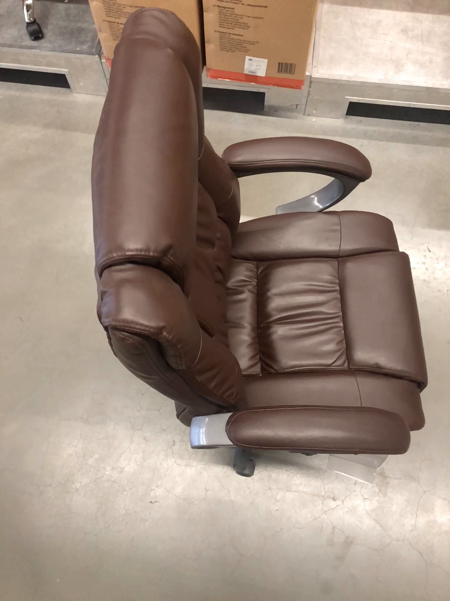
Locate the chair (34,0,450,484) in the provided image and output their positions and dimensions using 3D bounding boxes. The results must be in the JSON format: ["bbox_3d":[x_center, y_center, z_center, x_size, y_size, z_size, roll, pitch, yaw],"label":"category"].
[{"bbox_3d":[0.177,0.008,1.053,0.650,1.097,0.682,1,68,1],"label":"chair"}]
